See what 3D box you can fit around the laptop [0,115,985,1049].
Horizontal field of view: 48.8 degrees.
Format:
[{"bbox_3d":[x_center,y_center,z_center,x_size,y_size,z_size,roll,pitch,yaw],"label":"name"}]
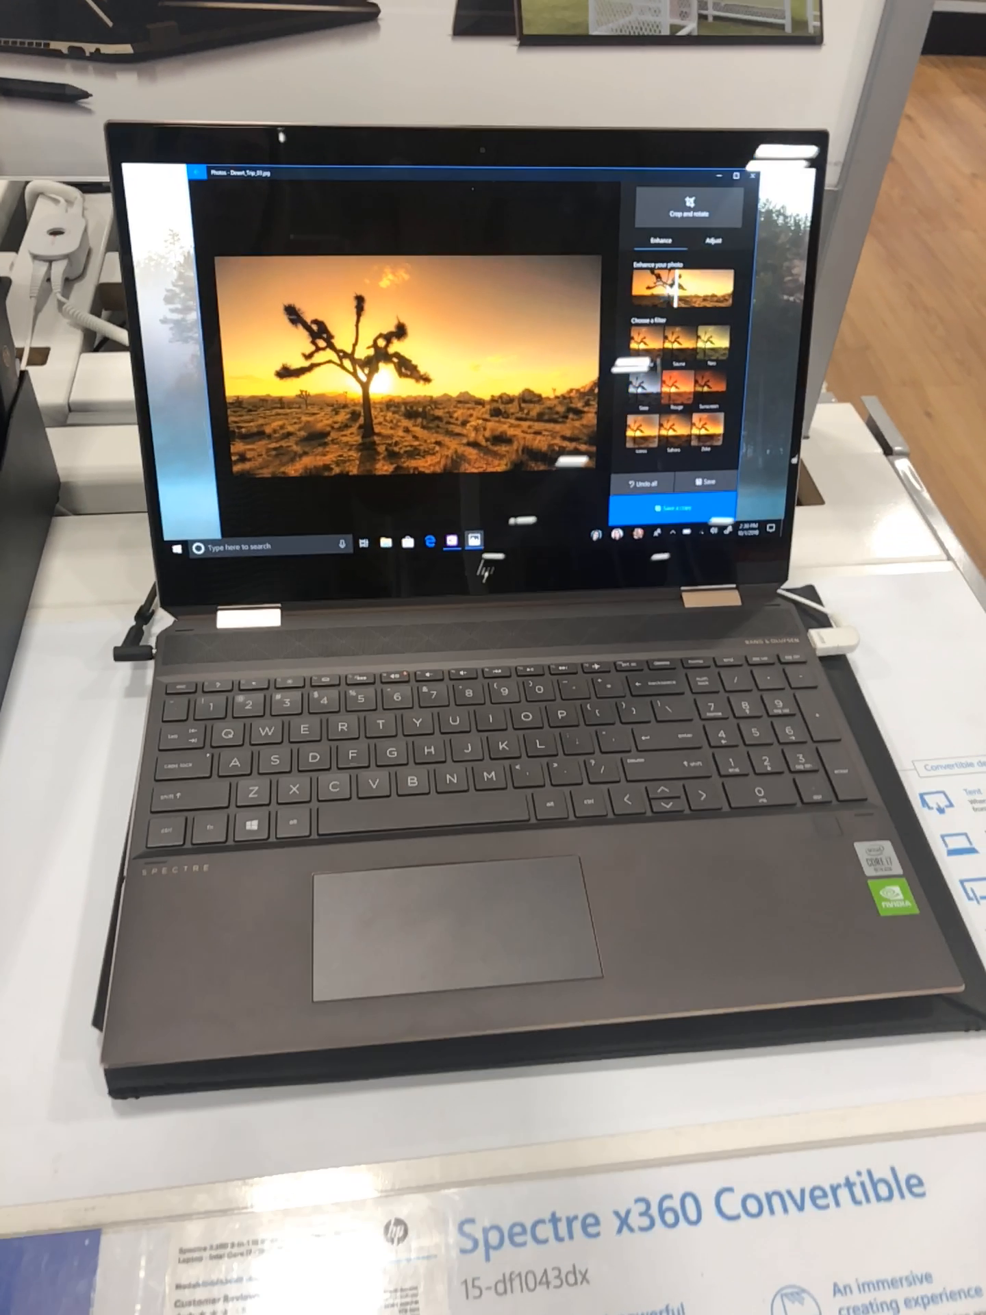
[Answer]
[{"bbox_3d":[0.003,-0.061,0.491,0.348,0.209,0.361,-3,47,-7],"label":"laptop"}]
